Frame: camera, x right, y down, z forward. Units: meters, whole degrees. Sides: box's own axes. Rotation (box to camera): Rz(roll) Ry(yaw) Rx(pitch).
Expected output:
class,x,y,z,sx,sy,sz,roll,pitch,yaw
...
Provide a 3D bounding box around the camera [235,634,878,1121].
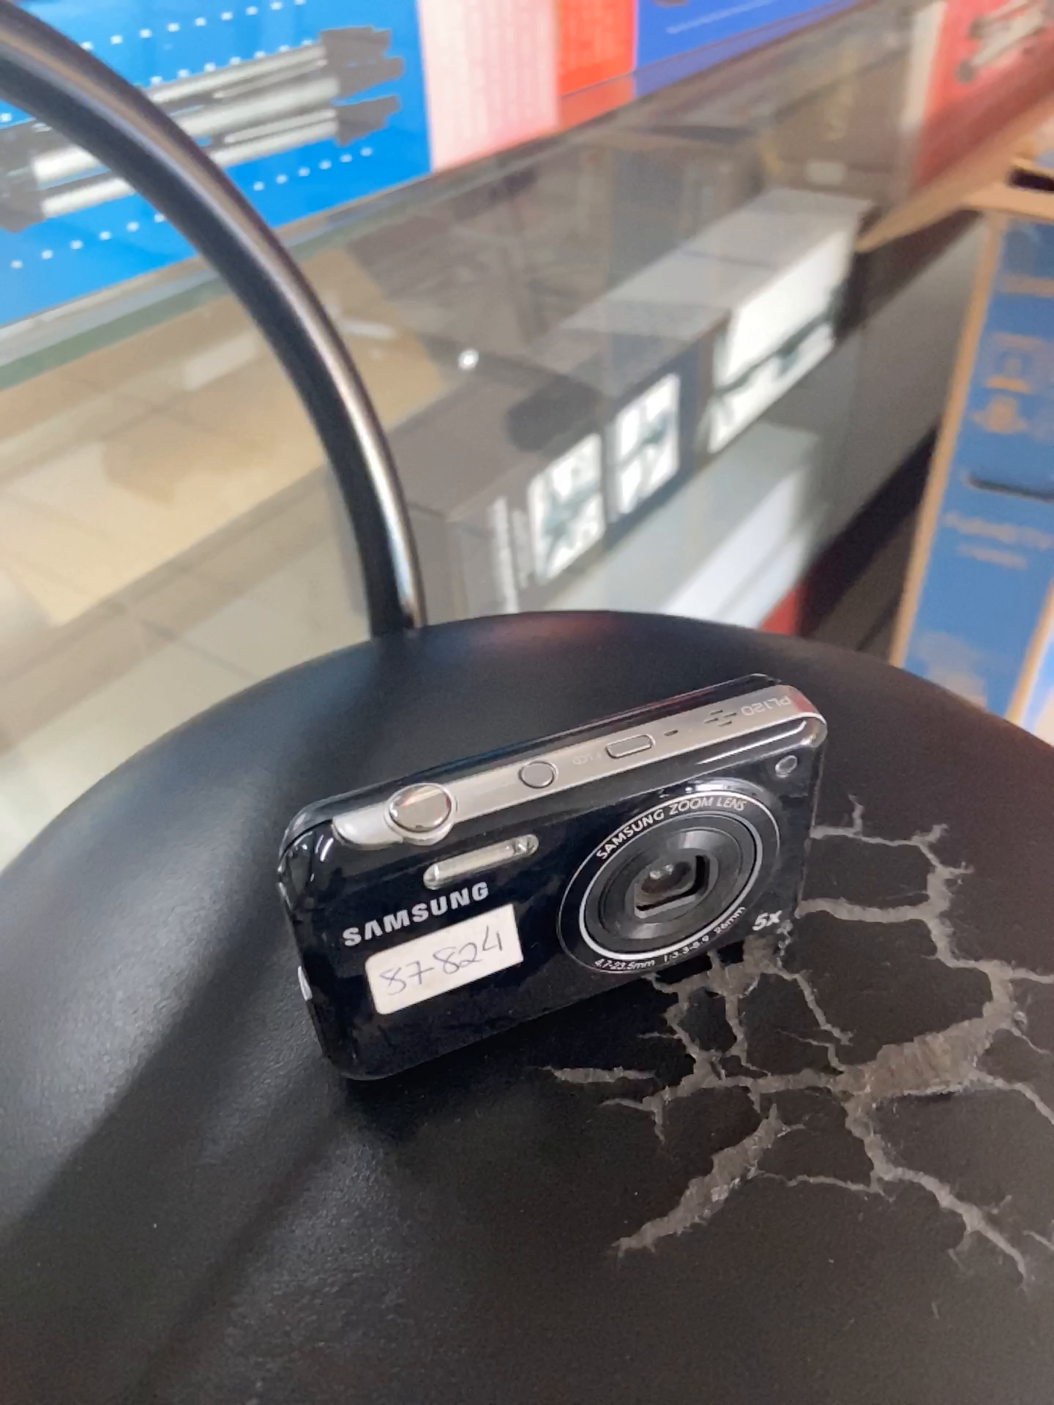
class,x,y,z,sx,sy,sz,roll,pitch,yaw
camera,0.007,0.029,0.194,0.100,0.050,0.030,-17,42,-14
